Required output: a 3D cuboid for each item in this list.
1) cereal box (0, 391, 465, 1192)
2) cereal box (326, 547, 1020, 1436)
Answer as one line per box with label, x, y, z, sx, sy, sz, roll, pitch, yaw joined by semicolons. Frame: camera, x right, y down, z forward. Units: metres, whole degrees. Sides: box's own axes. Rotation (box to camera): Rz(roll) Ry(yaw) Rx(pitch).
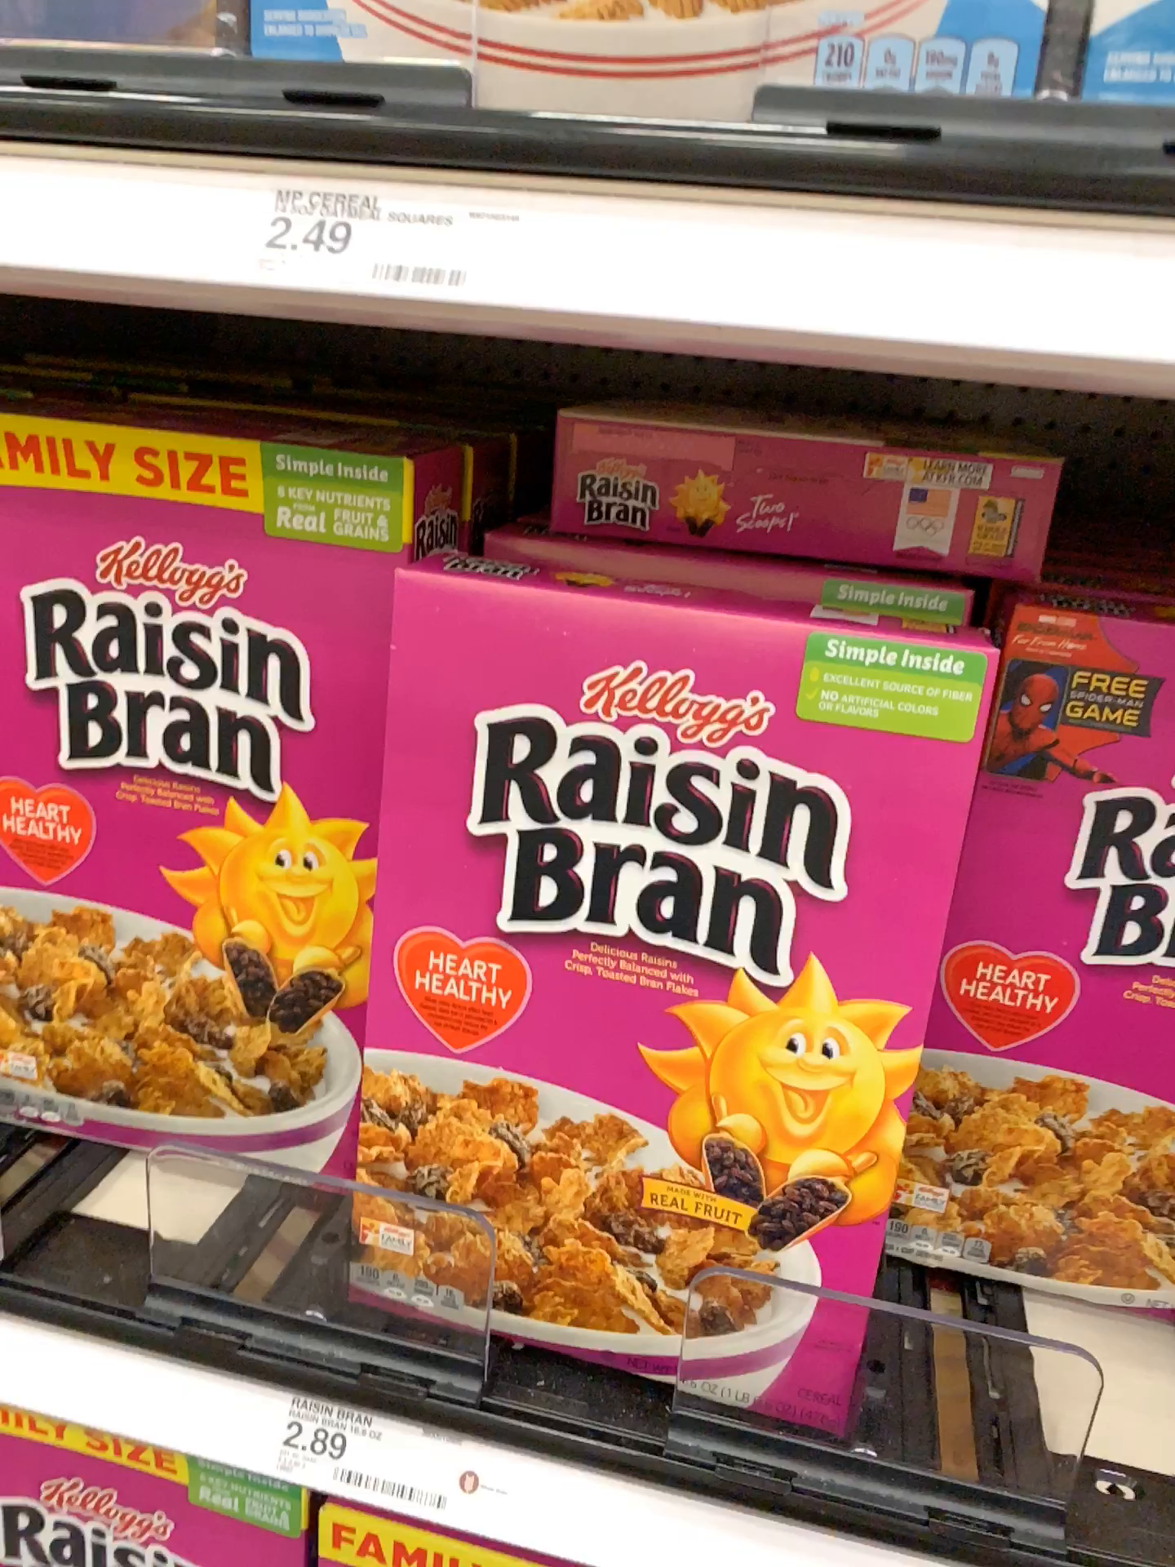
cereal box;-0.174;0.003;0.506;0.220;0.299;0.060;9;19;10
cereal box;0.018;0.071;0.427;0.200;0.279;0.050;9;16;11
